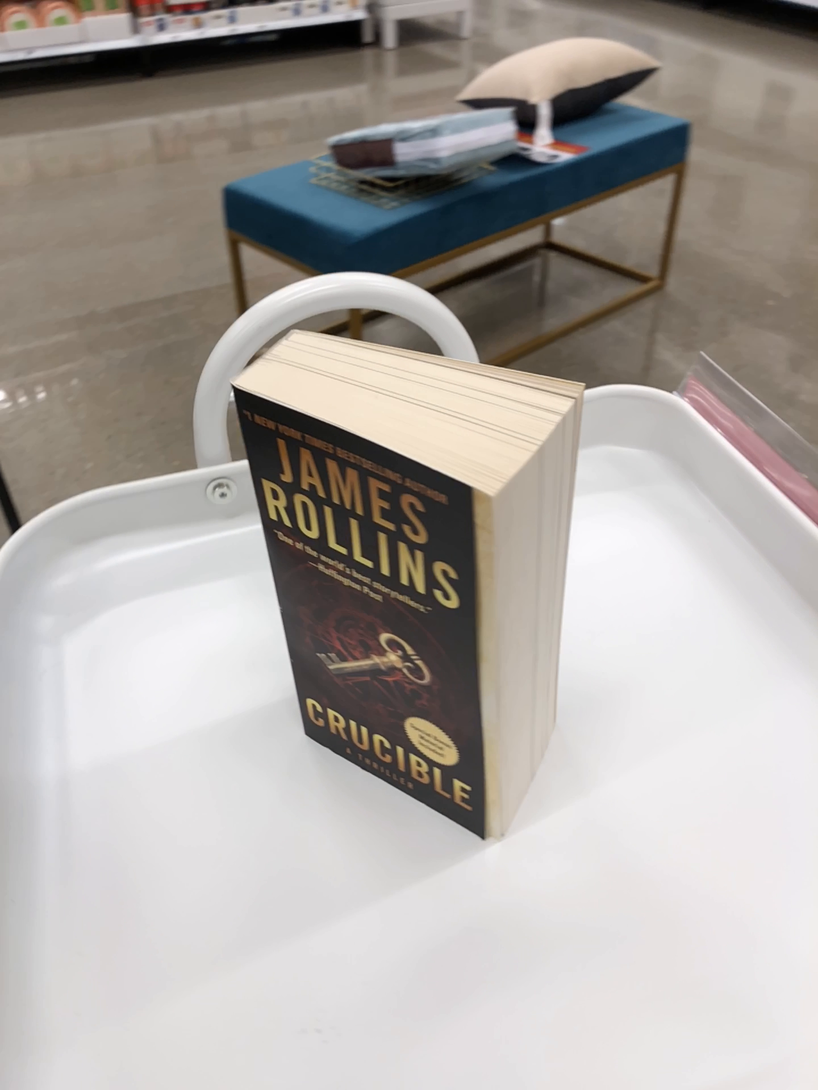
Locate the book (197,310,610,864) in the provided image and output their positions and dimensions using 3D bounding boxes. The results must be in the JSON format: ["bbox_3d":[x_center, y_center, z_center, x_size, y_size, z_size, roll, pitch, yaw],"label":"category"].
[{"bbox_3d":[0.001,0.021,0.346,0.113,0.184,0.066,21,46,25],"label":"book"}]
